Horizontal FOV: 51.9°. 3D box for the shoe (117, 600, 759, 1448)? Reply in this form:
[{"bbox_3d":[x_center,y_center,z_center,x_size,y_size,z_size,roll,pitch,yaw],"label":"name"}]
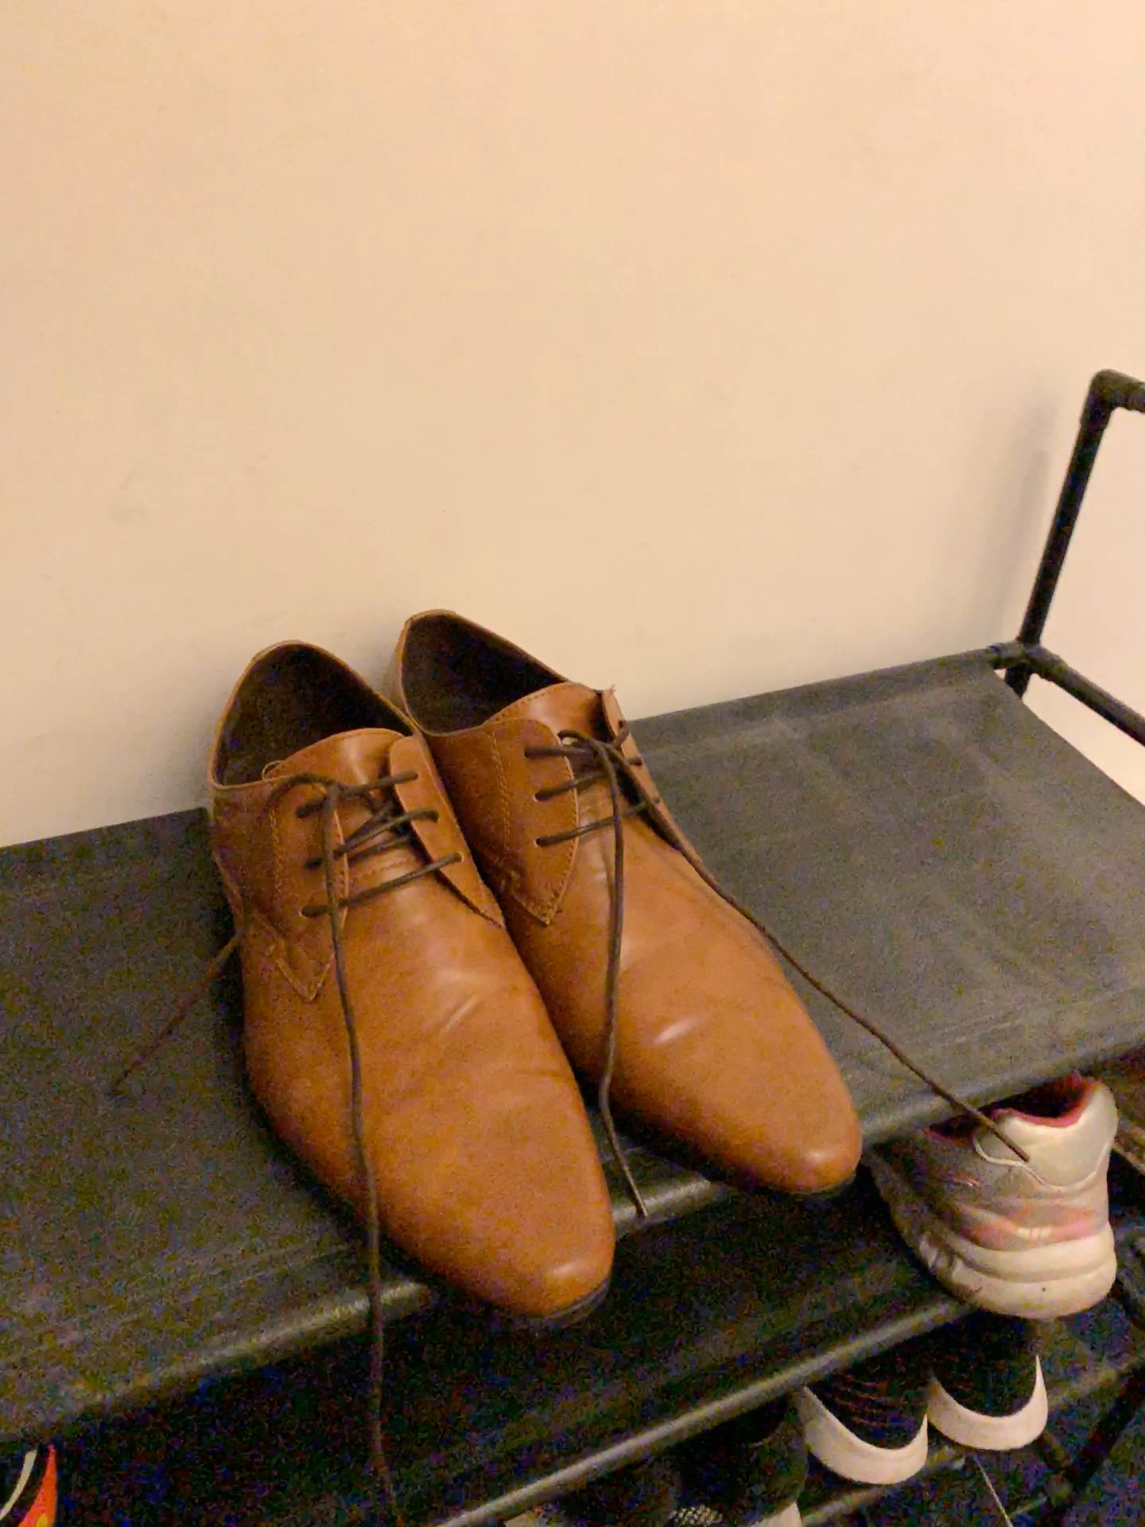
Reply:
[{"bbox_3d":[-0.066,0.054,0.399,0.110,0.099,0.272,-14,37,-23],"label":"shoe"}]

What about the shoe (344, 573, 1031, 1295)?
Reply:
[{"bbox_3d":[0.017,0.036,0.457,0.100,0.099,0.292,-17,38,-27],"label":"shoe"}]
